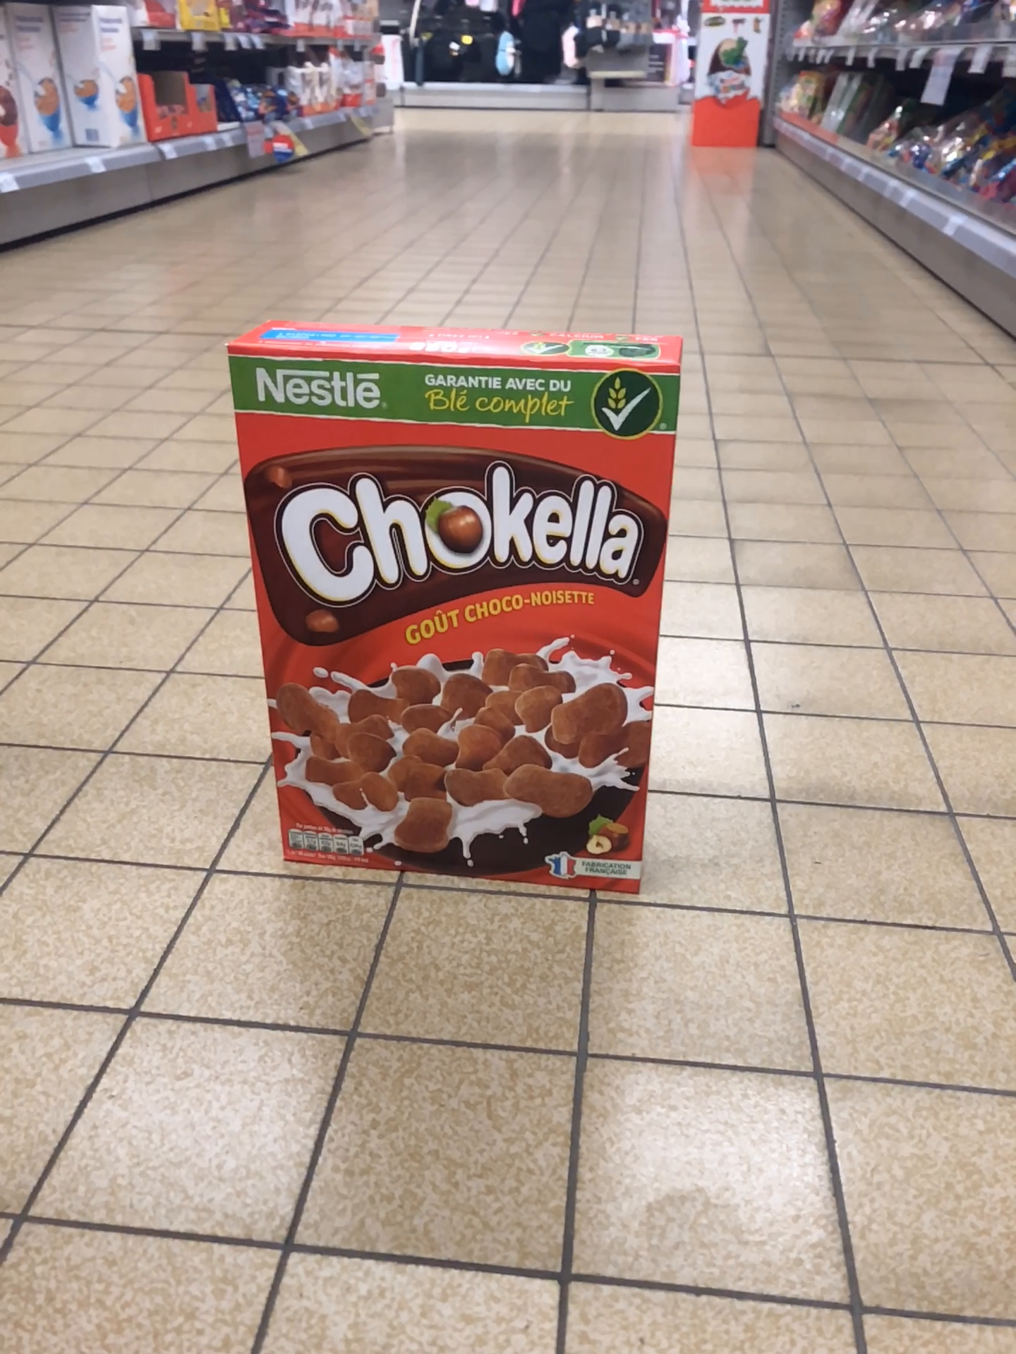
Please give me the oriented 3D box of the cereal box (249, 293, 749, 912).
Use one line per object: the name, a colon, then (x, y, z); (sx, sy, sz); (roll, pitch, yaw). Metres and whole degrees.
cereal box: (-0.004, -0.028, 0.531); (0.200, 0.278, 0.060); (5, 29, 8)
